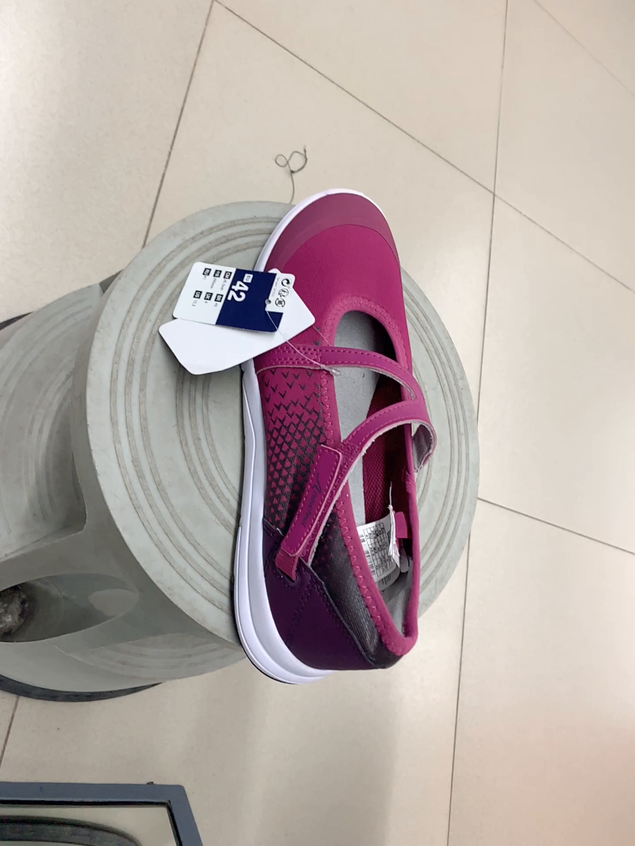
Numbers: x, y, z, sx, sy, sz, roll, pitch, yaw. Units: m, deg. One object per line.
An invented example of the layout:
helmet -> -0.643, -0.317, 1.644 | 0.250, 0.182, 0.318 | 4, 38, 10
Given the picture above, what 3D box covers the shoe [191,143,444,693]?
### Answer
shoe -> 0.006, -0.001, 0.350 | 0.100, 0.070, 0.260 | 13, 71, -32
